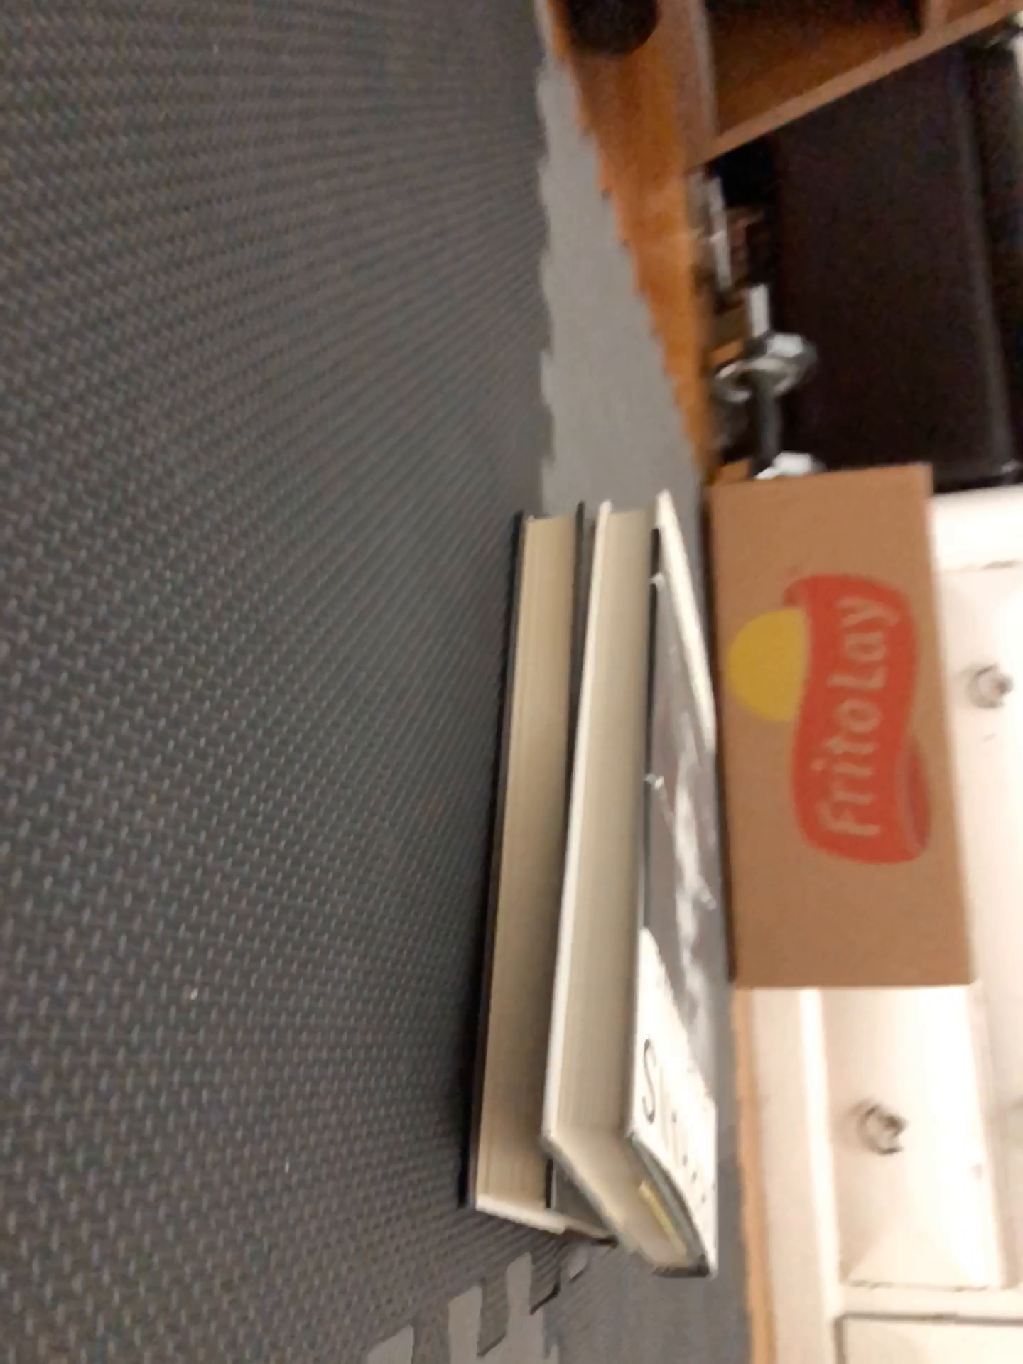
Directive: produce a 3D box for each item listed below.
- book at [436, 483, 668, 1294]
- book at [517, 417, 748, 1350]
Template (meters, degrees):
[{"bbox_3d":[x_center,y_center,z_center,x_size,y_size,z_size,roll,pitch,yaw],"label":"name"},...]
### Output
[{"bbox_3d":[0.026,0.079,0.411,0.160,0.030,0.250,57,32,-57],"label":"book"},{"bbox_3d":[0.056,0.067,0.413,0.180,0.030,0.281,65,25,-48],"label":"book"}]
